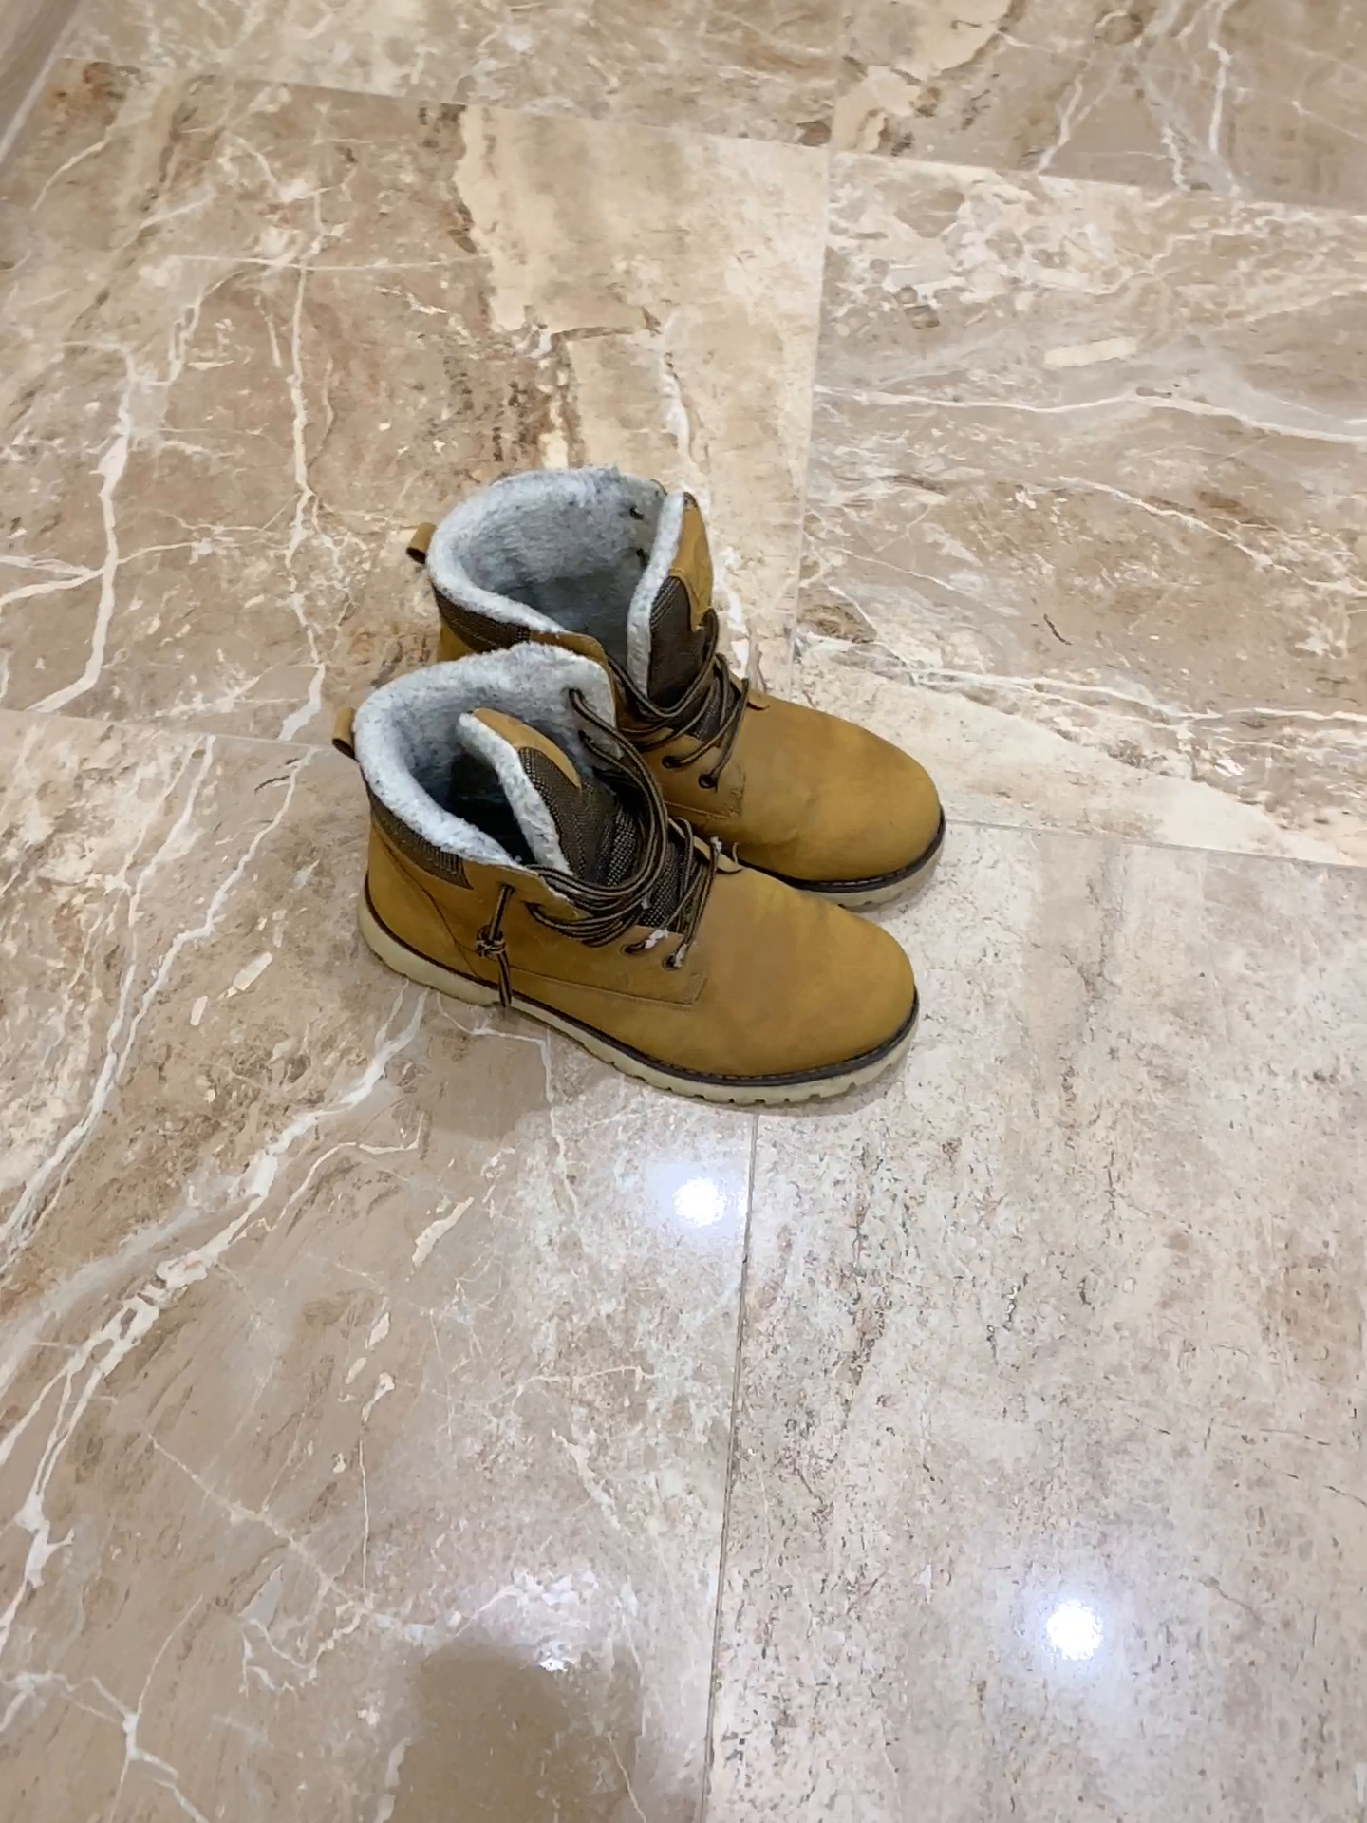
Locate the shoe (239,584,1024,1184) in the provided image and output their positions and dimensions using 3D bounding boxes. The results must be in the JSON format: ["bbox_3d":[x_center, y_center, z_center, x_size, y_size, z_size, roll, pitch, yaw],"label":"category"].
[{"bbox_3d":[-0.021,-0.006,0.610,0.280,0.160,0.120,18,61,6],"label":"shoe"}]

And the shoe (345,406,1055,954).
[{"bbox_3d":[0.006,-0.105,0.656,0.280,0.140,0.120,18,61,6],"label":"shoe"}]
